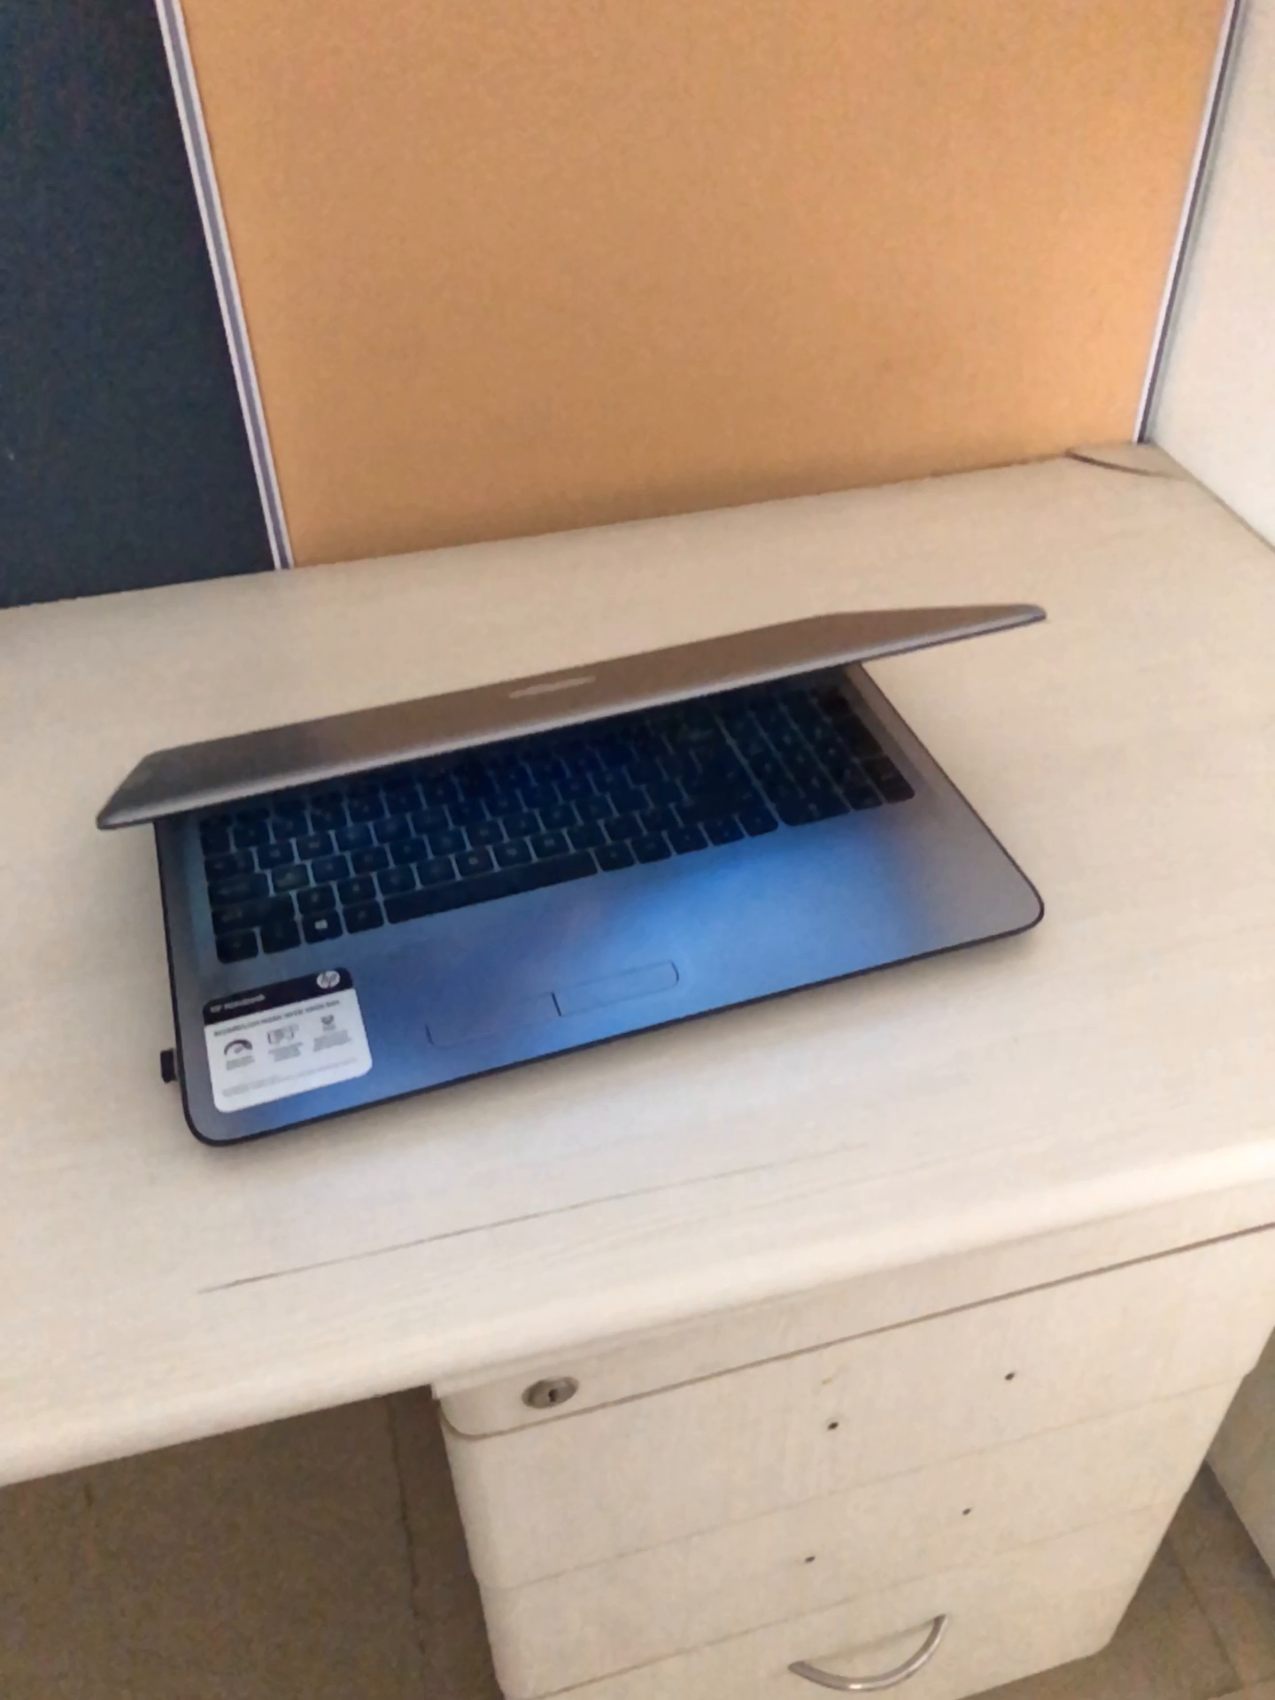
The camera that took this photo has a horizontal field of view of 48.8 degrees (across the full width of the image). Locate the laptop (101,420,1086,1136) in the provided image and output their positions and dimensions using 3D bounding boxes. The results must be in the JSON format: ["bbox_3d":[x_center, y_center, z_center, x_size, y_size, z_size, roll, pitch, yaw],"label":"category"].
[{"bbox_3d":[-0.033,-0.055,0.628,0.364,0.132,0.239,-13,41,-13],"label":"laptop"}]
